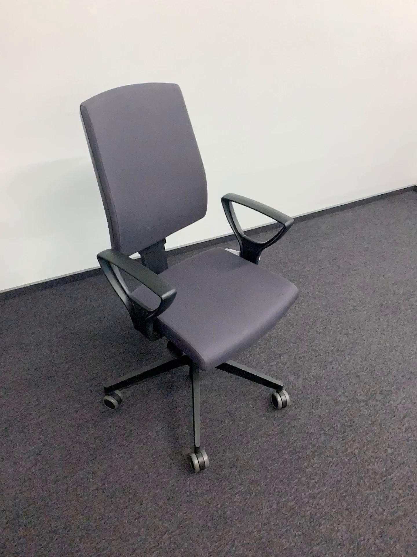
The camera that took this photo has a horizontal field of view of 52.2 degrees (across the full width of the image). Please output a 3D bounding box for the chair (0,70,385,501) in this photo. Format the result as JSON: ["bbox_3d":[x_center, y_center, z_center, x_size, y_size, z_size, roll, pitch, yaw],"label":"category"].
[{"bbox_3d":[-0.063,-0.038,1.448,0.782,1.034,0.703,31,45,34],"label":"chair"}]
